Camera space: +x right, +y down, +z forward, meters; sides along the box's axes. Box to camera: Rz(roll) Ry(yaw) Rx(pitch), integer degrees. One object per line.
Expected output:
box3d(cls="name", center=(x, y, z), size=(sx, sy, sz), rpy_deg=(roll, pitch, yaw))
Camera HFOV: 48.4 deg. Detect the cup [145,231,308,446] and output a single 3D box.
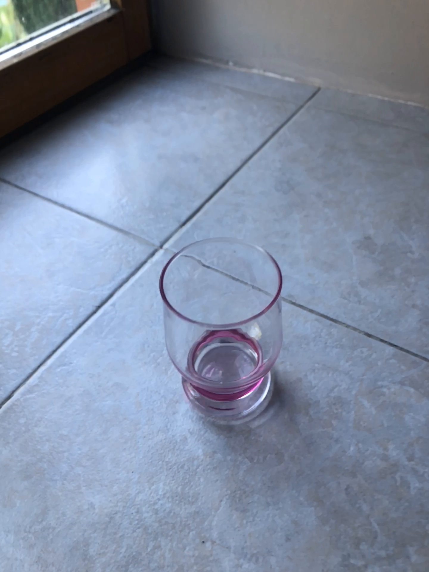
box3d(cls="cup", center=(0.003, 0.034, 0.293), size=(0.079, 0.102, 0.079), rpy_deg=(0, 47, 0))
